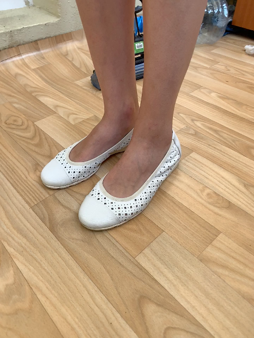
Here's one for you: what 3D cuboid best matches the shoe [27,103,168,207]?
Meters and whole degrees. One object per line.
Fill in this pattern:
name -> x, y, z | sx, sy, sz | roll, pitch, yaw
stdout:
shoe -> -0.048, -0.043, 0.537 | 0.270, 0.070, 0.100 | -30, 50, -28

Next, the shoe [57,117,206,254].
shoe -> 0.022, 0.009, 0.453 | 0.090, 0.070, 0.270 | 31, 52, 30
